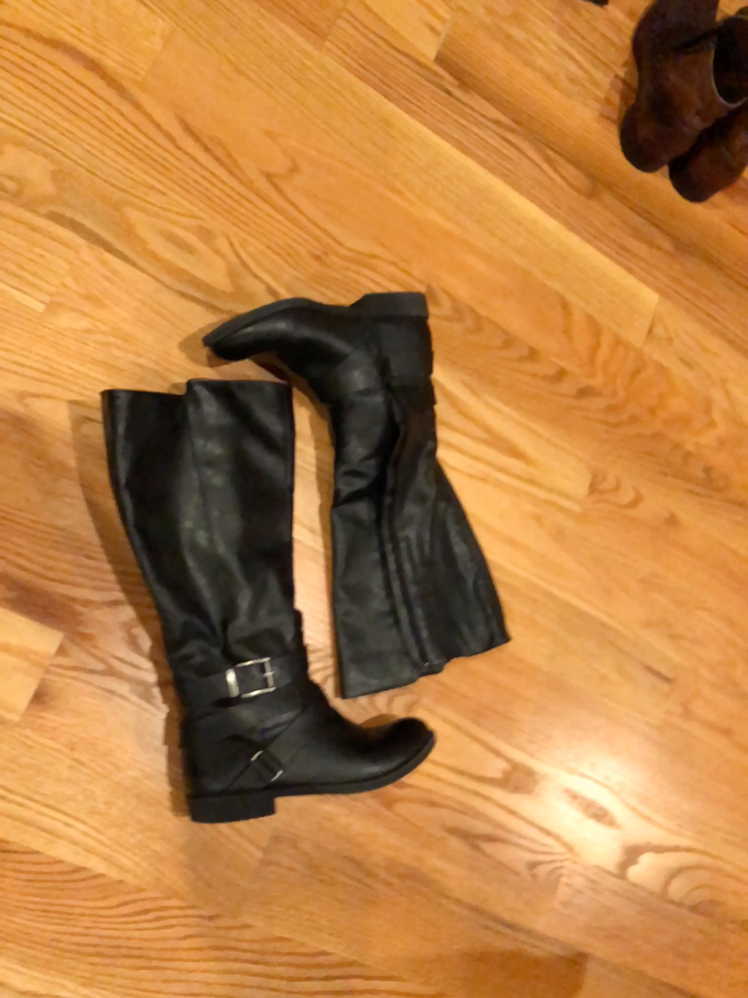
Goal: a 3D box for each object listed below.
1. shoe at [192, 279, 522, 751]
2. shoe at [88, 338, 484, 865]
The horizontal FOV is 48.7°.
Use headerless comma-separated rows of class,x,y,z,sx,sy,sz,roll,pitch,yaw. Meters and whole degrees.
shoe,-0.019,0.007,0.775,0.251,0.094,0.393,-4,83,-24
shoe,-0.080,0.068,0.739,0.291,0.104,0.403,-5,85,-24
